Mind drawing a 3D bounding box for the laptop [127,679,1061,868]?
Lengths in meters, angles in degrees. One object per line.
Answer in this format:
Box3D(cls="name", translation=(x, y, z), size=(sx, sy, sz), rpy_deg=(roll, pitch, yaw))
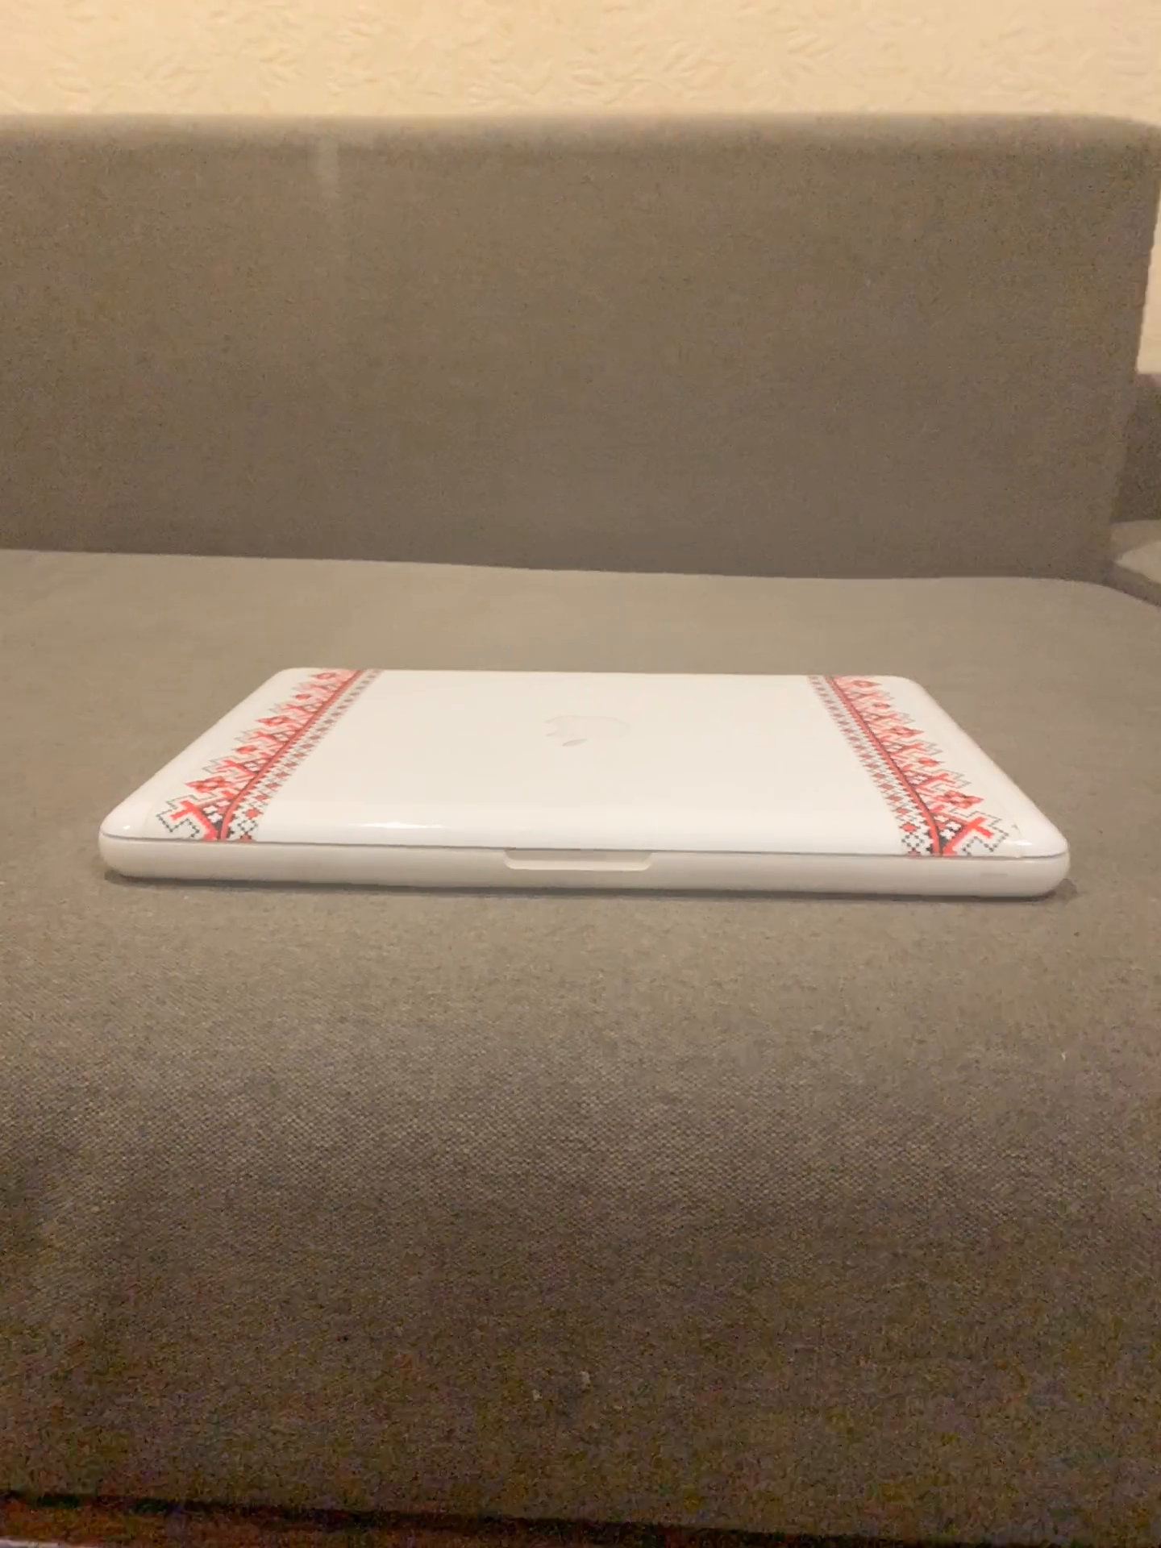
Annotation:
Box3D(cls="laptop", translation=(0.009, -0.008, 0.521), size=(0.324, 0.003, 0.223), rpy_deg=(1, 19, 0))
